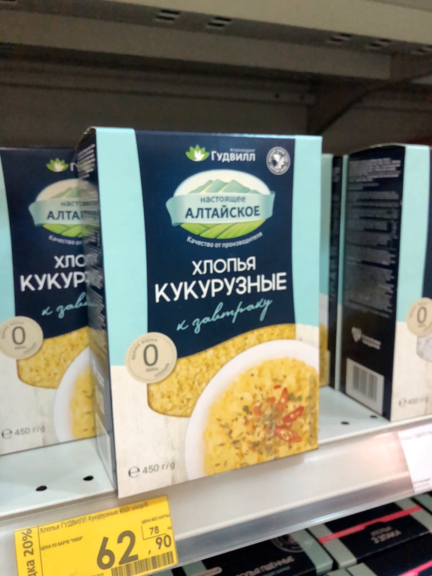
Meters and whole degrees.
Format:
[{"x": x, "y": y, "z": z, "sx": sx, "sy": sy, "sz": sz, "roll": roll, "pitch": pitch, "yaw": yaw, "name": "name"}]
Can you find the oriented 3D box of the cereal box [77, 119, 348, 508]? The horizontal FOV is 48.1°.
[{"x": 0.001, "y": 0.007, "z": 0.286, "sx": 0.140, "sy": 0.190, "sz": 0.060, "roll": -5, "pitch": 9, "yaw": -23, "name": "cereal box"}]
